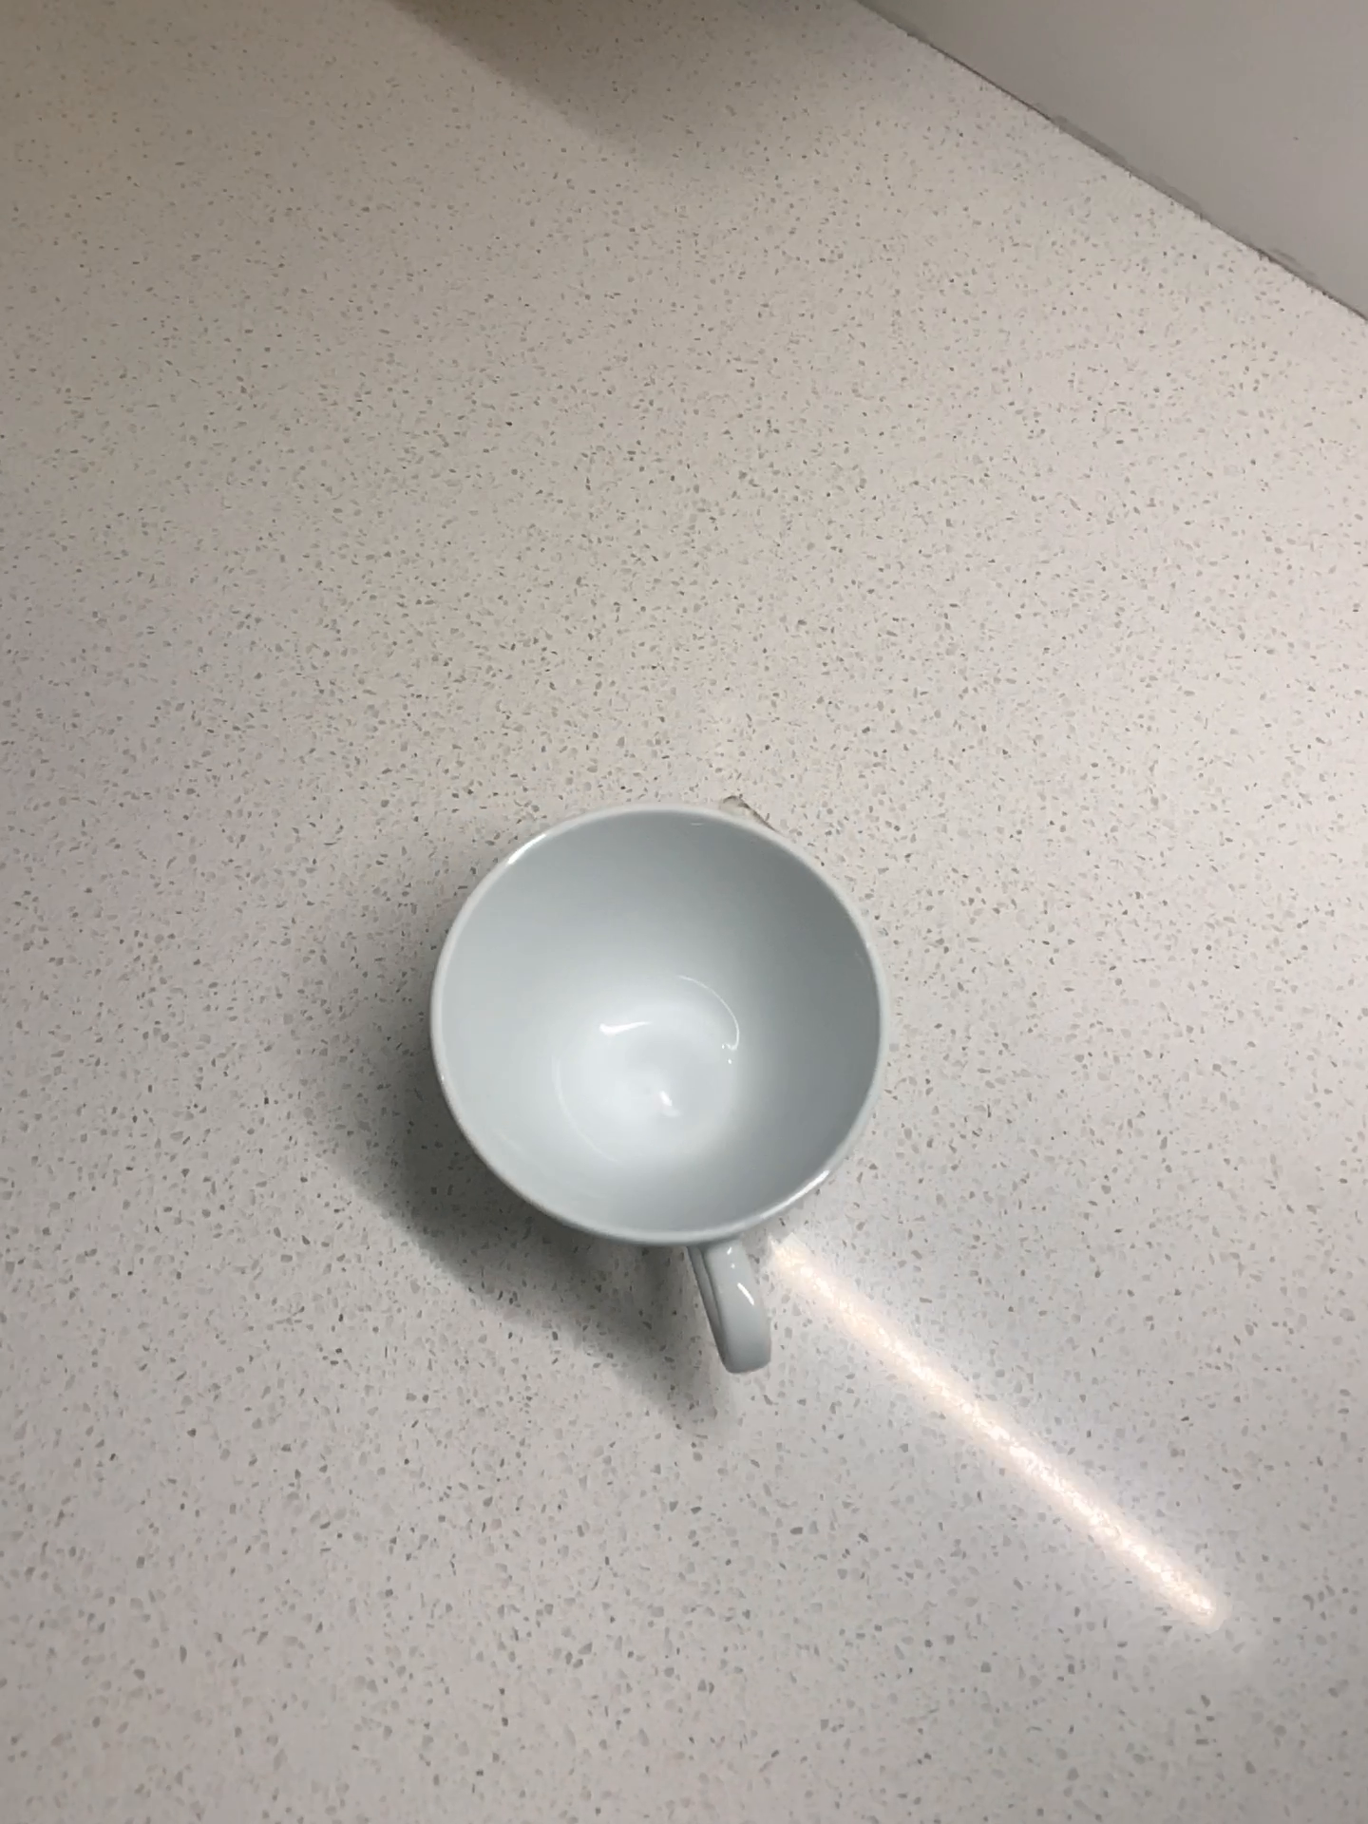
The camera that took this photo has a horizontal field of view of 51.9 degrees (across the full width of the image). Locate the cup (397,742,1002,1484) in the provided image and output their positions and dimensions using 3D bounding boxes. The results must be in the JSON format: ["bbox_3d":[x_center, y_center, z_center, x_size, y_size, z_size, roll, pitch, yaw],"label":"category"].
[{"bbox_3d":[-0.002,0.041,0.297,0.090,0.050,0.130,-12,70,-7],"label":"cup"}]

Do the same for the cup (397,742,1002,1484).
[{"bbox_3d":[-0.002,0.041,0.297,0.090,0.050,0.130,-12,70,-7],"label":"cup"}]
